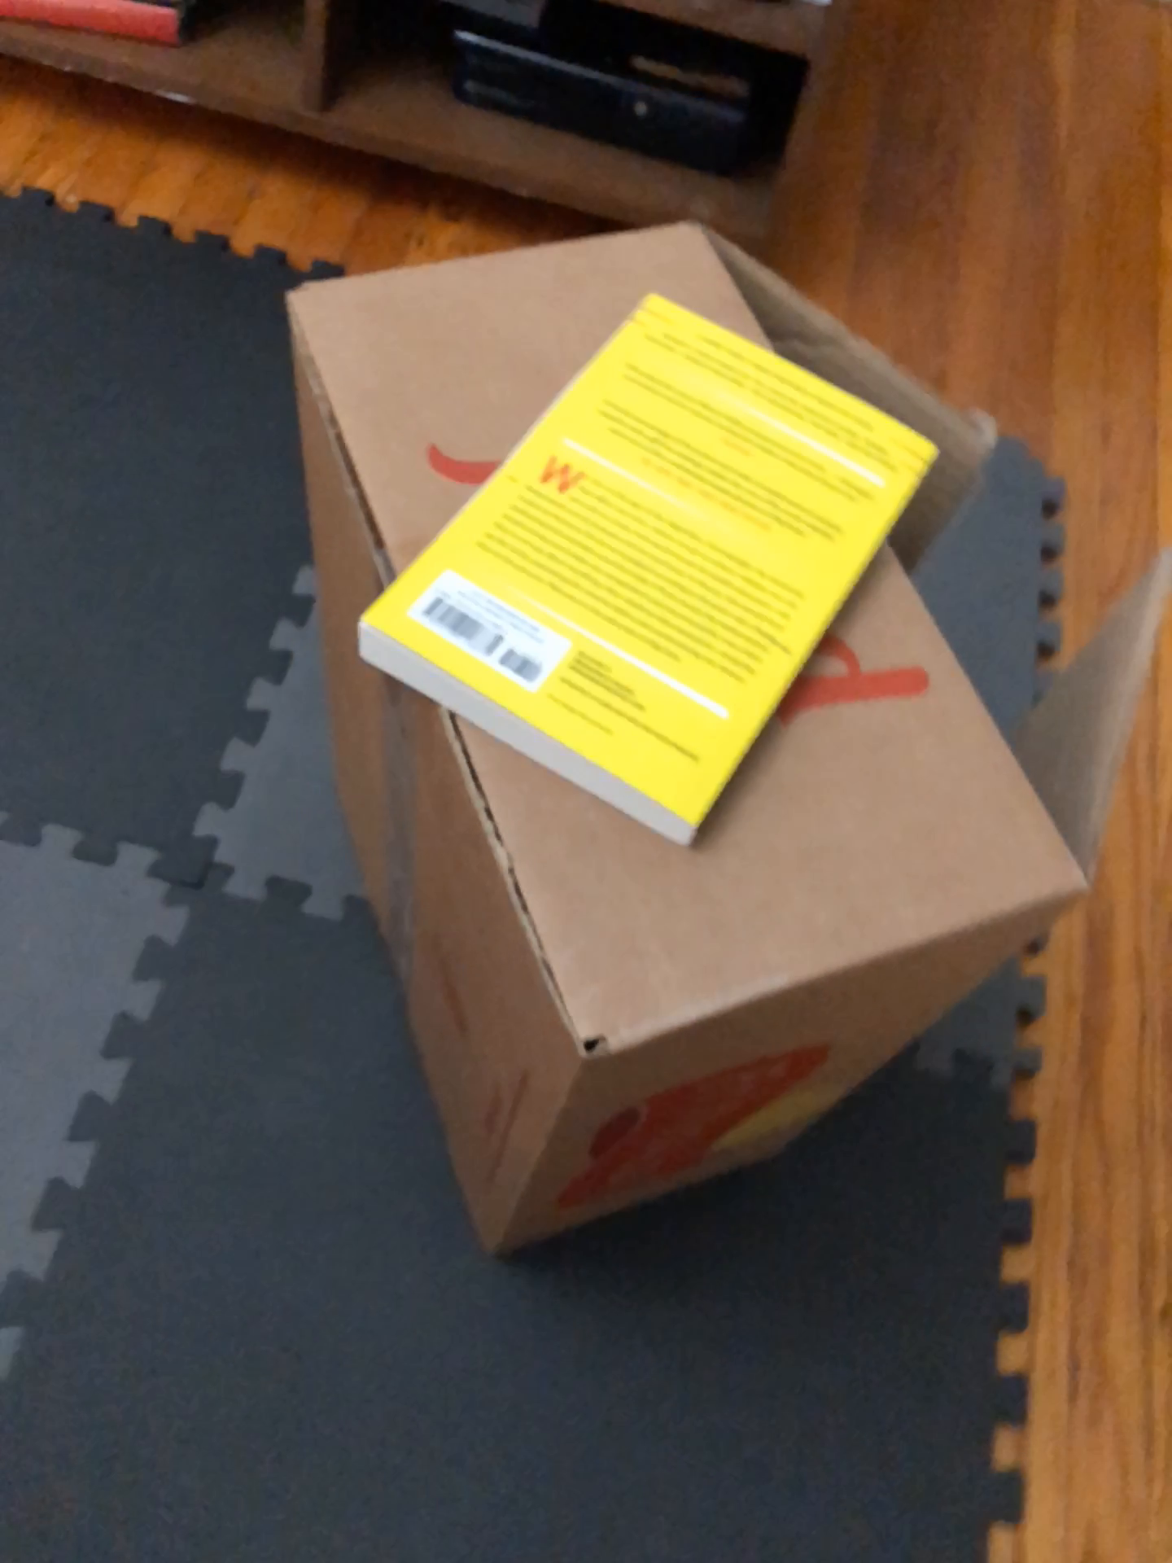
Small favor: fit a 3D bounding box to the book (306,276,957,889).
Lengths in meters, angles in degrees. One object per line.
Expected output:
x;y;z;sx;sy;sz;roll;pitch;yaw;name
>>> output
0.025;-0.087;0.484;0.150;0.020;0.221;30;62;9;book
